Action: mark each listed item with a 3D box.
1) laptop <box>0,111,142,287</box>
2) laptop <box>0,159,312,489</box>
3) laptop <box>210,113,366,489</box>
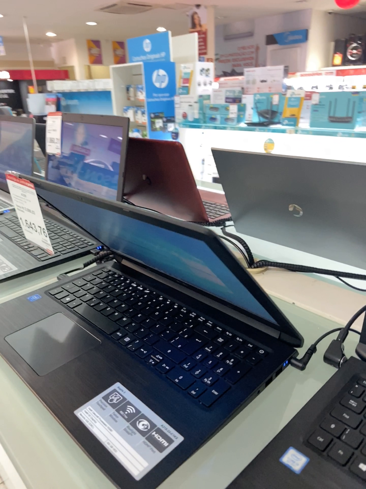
[{"bbox_3d":[-0.348,-0.144,0.816,0.326,0.232,0.401,-22,29,-36],"label":"laptop"},{"bbox_3d":[-0.087,0.025,0.451,0.239,0.185,0.380,-22,29,-40],"label":"laptop"},{"bbox_3d":[0.251,0.087,0.177,0.284,0.247,0.400,-22,30,-38],"label":"laptop"}]
